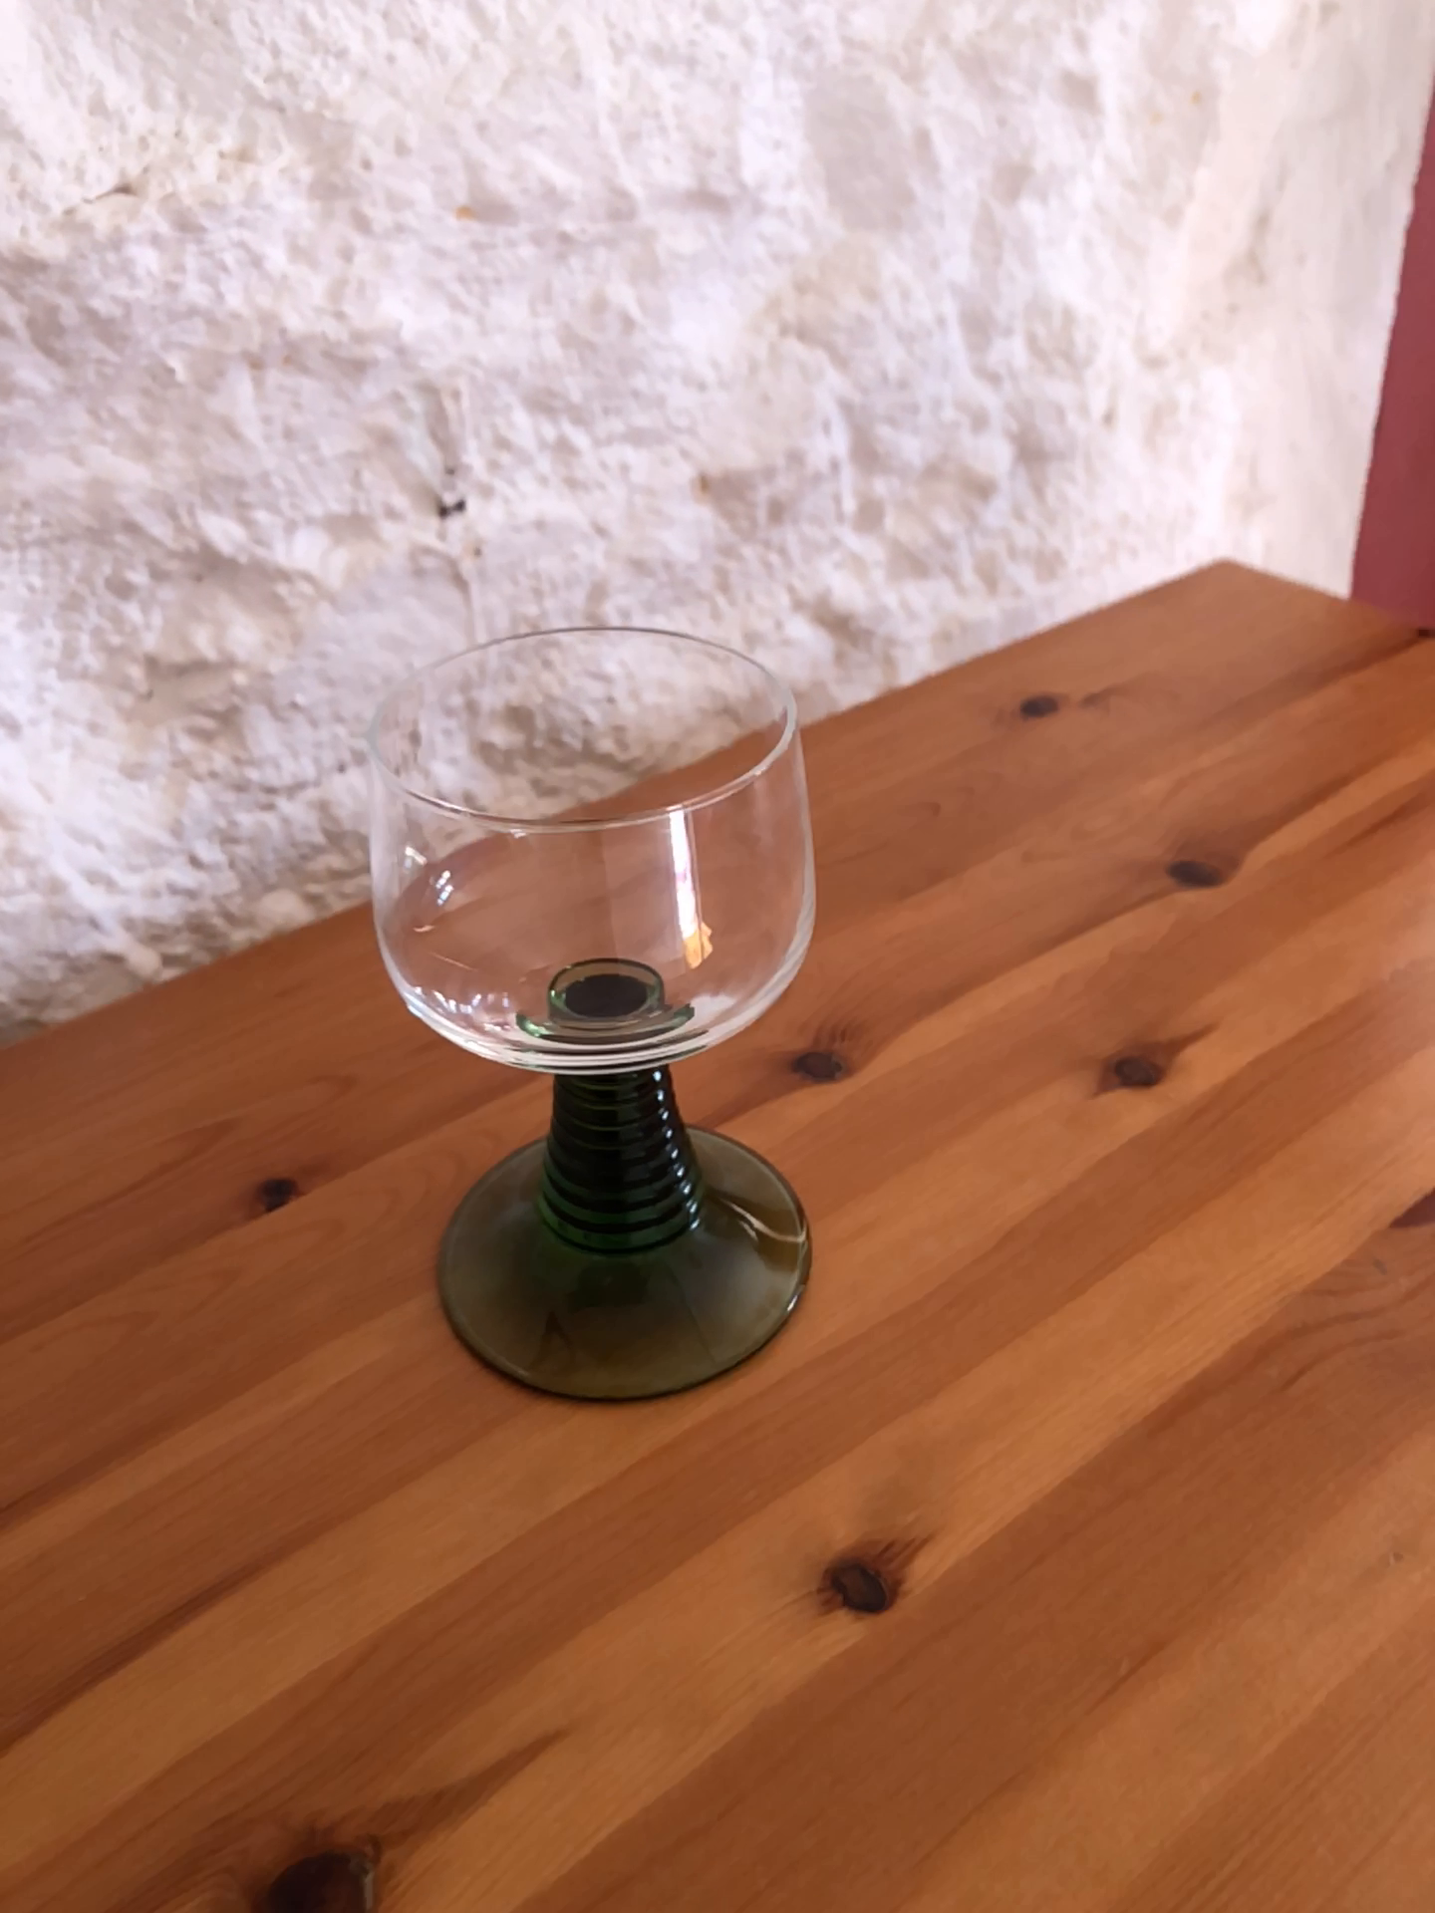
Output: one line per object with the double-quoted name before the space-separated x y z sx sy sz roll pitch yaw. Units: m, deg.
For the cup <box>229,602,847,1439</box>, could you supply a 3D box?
"cup" -0.019 0.009 0.253 0.073 0.106 0.075 -1 34 1
